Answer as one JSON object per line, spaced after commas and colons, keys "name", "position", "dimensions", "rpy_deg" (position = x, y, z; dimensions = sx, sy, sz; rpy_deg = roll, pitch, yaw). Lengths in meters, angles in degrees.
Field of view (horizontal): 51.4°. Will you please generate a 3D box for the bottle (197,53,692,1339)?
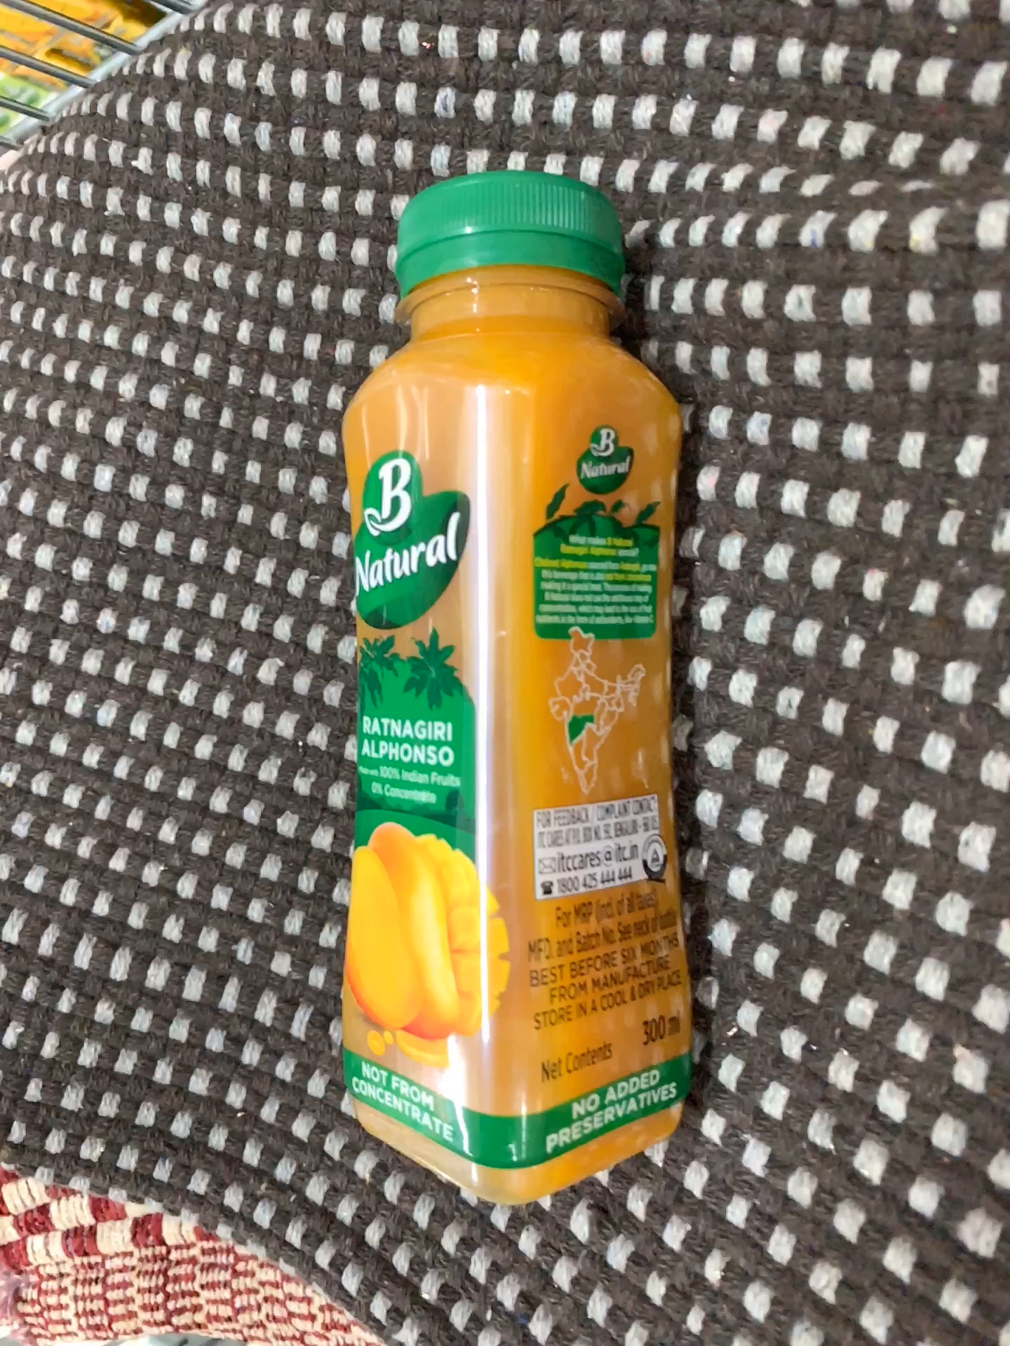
{"name": "bottle", "position": [-0.010, 0.004, 0.169], "dimensions": [0.060, 0.050, 0.160], "rpy_deg": [3, 95, 45]}
